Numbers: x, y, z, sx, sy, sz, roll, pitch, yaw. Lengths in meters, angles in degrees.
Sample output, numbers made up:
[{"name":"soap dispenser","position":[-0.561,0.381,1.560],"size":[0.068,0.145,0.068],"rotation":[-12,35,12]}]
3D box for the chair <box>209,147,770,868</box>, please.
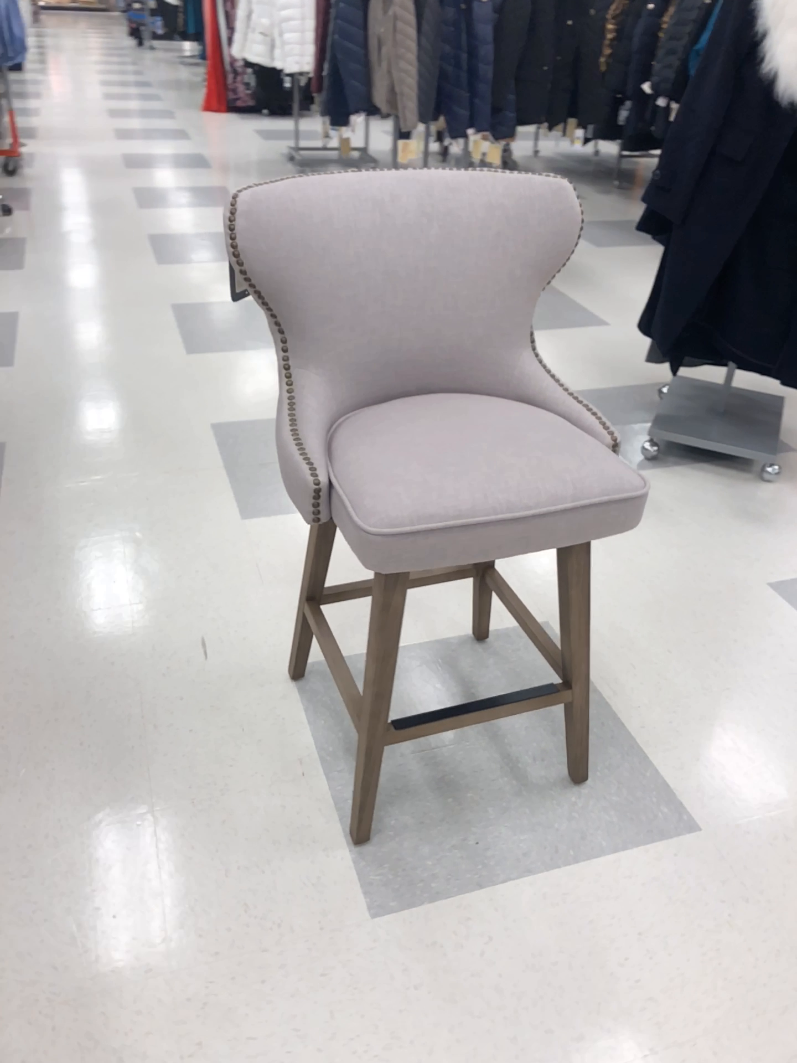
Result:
[{"name":"chair","position":[0.070,-0.051,1.438],"size":[0.609,0.999,0.479],"rotation":[-9,33,-19]}]
